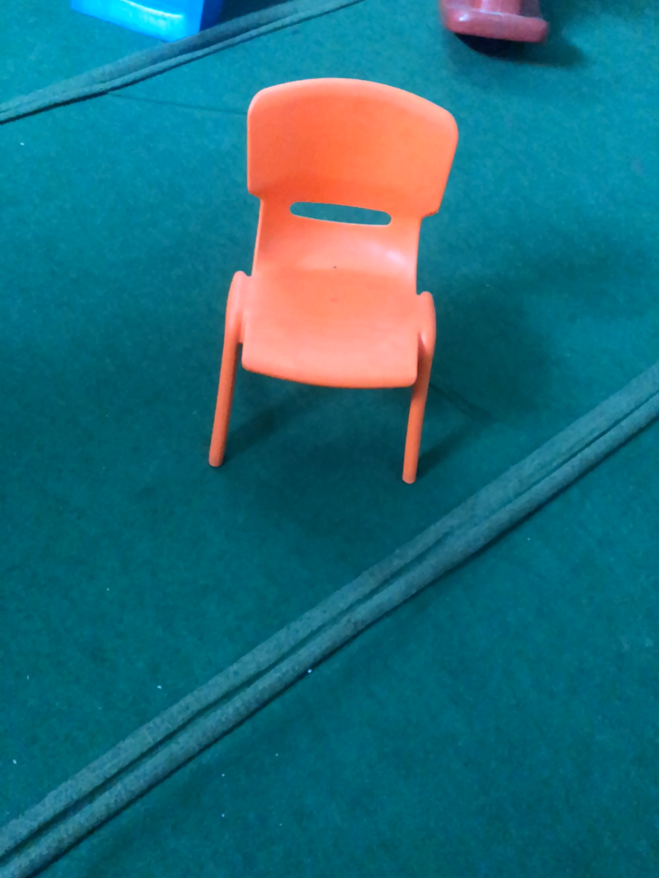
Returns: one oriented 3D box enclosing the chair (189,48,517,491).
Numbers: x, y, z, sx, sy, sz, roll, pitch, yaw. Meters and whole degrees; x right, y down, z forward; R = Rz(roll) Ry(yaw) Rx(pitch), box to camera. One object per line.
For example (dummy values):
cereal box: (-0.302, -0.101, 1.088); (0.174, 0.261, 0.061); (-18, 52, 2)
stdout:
chair: (0.009, -0.221, 1.099); (0.360, 0.479, 0.391); (6, 58, -4)
